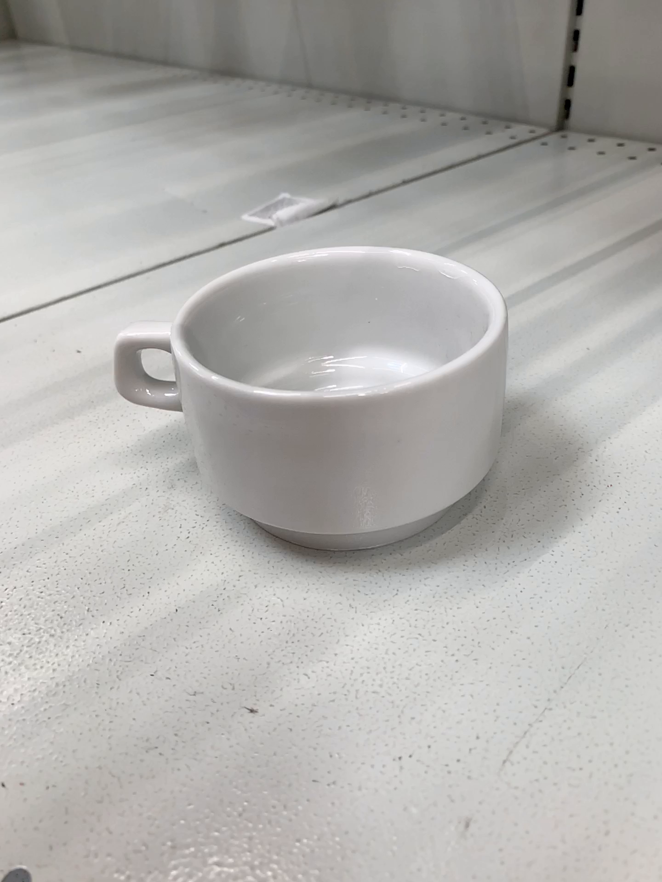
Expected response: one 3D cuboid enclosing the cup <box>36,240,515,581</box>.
[{"bbox_3d":[-0.006,-0.017,0.206,0.111,0.051,0.091,5,37,13],"label":"cup"}]
